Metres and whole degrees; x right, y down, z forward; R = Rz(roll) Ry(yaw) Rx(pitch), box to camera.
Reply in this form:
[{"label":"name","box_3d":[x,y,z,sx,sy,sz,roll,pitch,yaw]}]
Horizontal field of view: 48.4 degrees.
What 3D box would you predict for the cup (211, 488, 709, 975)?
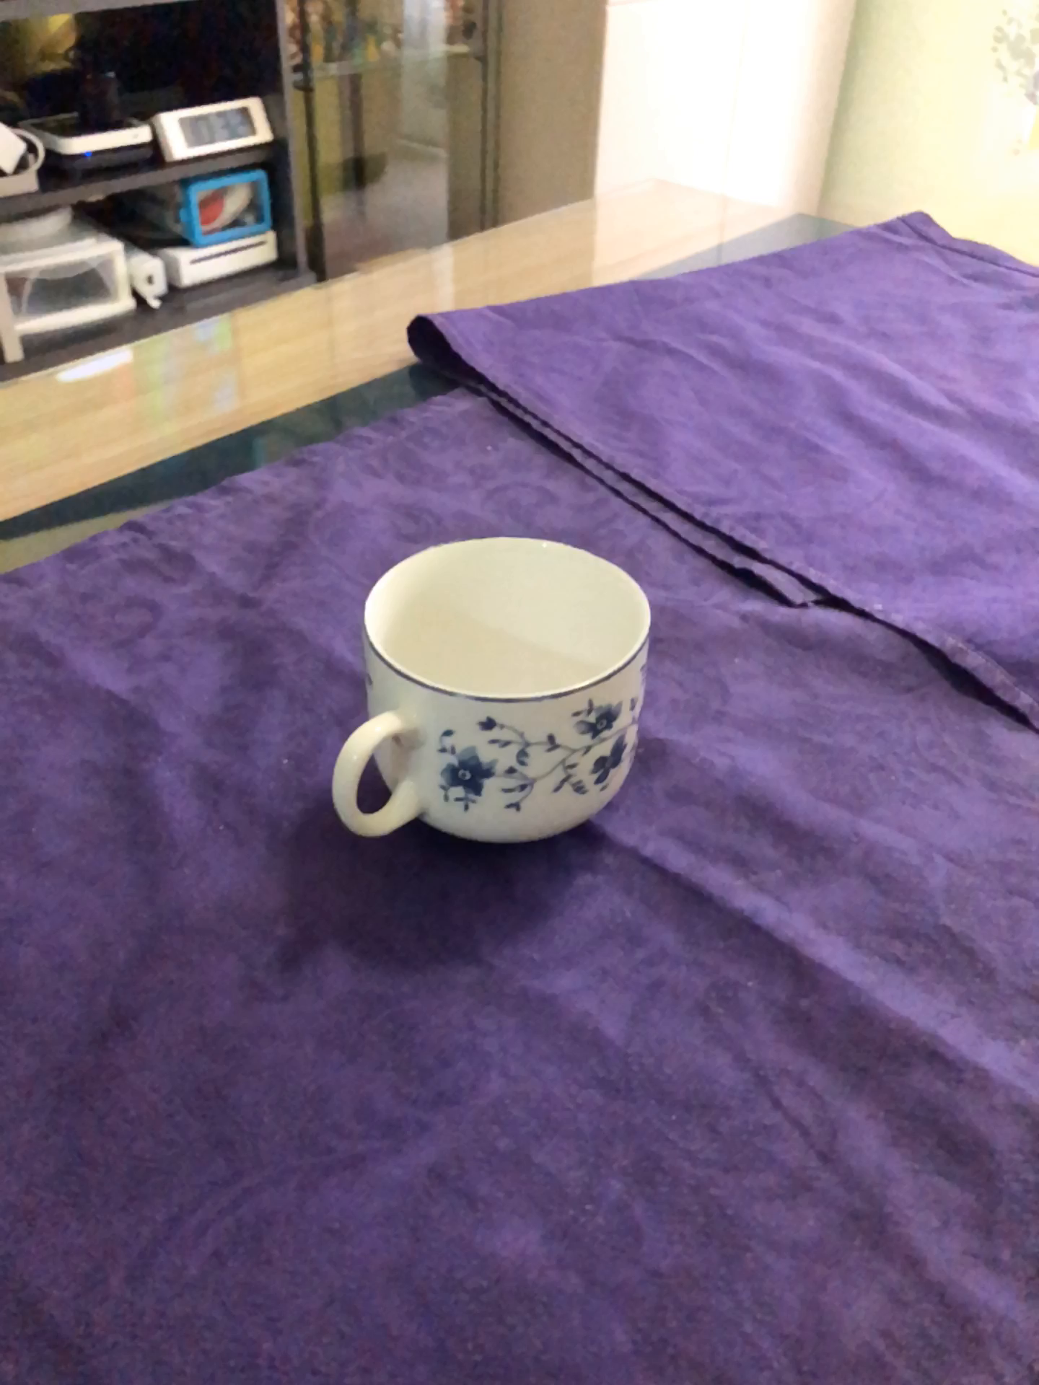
[{"label":"cup","box_3d":[-0.012,0.003,0.293,0.070,0.060,0.100,27,44,28]}]
